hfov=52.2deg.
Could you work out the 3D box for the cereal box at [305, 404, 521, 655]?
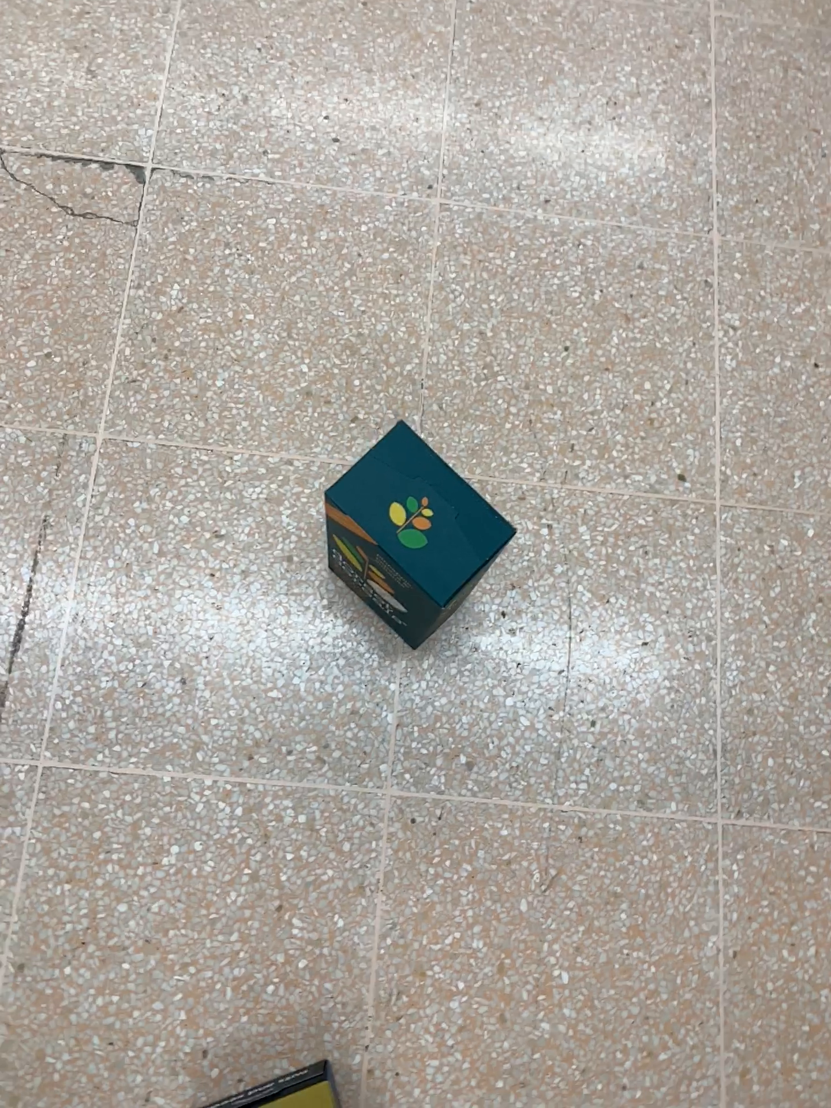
[{"bbox_3d":[-0.011,-0.005,0.672,0.120,0.239,0.080,44,77,6],"label":"cereal box"}]
